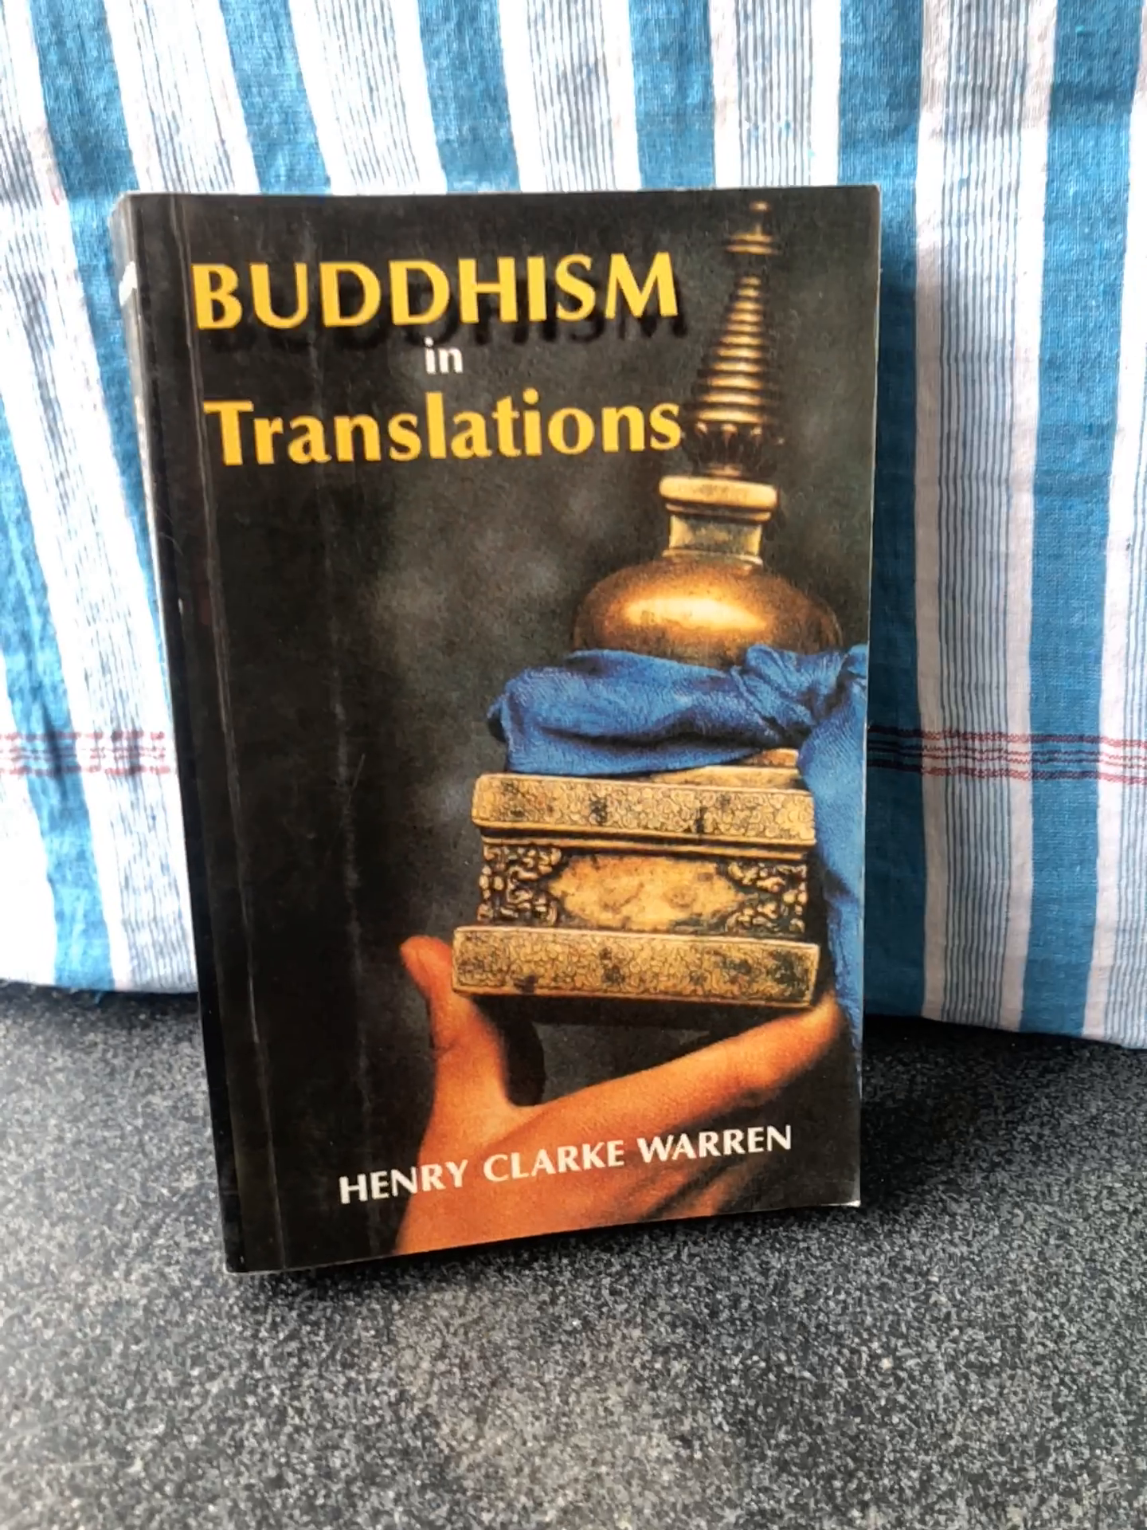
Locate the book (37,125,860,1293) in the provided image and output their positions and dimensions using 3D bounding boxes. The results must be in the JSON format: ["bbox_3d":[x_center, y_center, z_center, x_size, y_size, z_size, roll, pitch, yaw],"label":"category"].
[{"bbox_3d":[-0.020,-0.012,0.263,0.140,0.210,0.050,-4,6,-7],"label":"book"}]
